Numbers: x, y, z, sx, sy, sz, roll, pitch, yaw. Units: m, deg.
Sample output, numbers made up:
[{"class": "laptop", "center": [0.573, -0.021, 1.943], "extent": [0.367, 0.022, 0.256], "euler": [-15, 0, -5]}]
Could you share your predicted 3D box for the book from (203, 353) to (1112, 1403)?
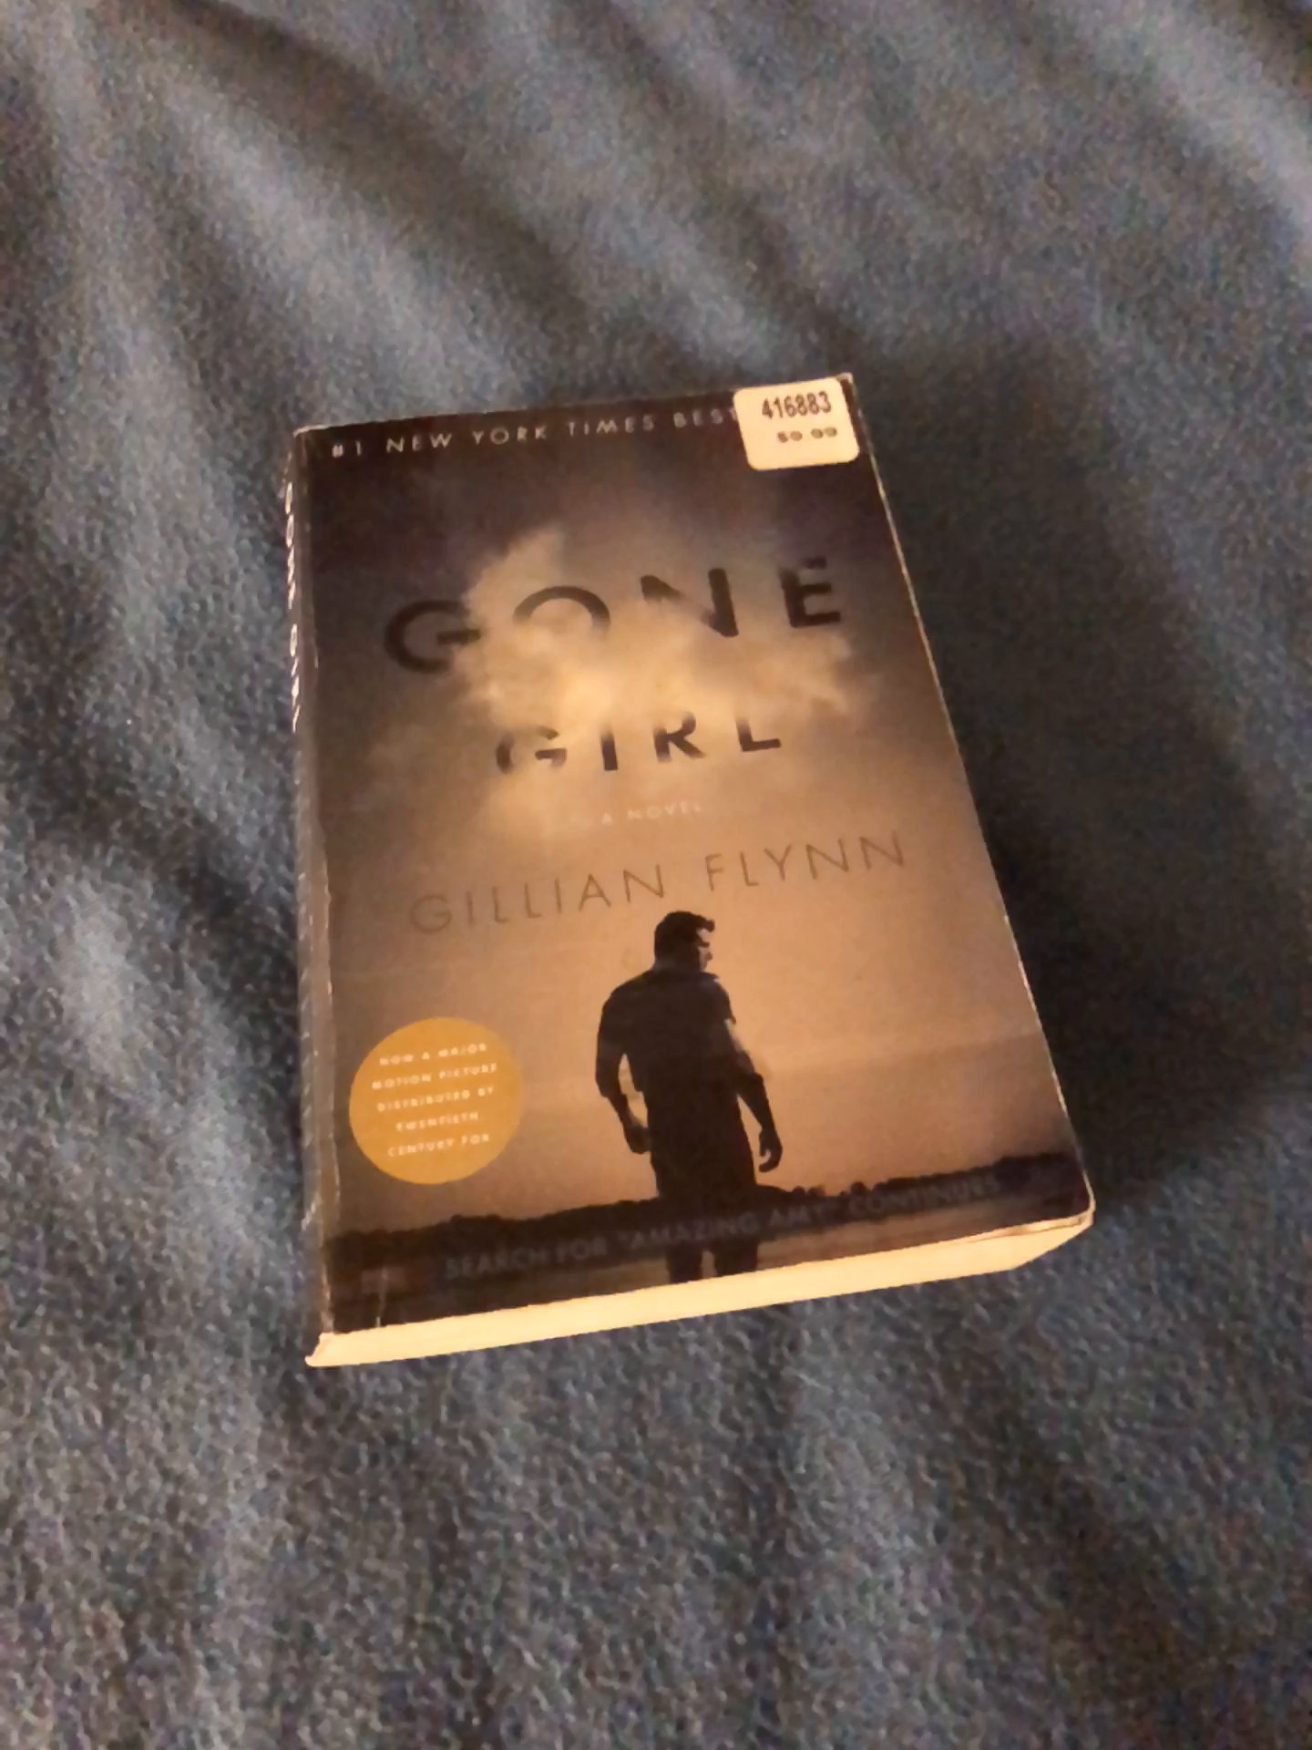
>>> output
[{"class": "book", "center": [-0.012, -0.013, 0.295], "extent": [0.140, 0.040, 0.201], "euler": [-8, 62, -7]}]
